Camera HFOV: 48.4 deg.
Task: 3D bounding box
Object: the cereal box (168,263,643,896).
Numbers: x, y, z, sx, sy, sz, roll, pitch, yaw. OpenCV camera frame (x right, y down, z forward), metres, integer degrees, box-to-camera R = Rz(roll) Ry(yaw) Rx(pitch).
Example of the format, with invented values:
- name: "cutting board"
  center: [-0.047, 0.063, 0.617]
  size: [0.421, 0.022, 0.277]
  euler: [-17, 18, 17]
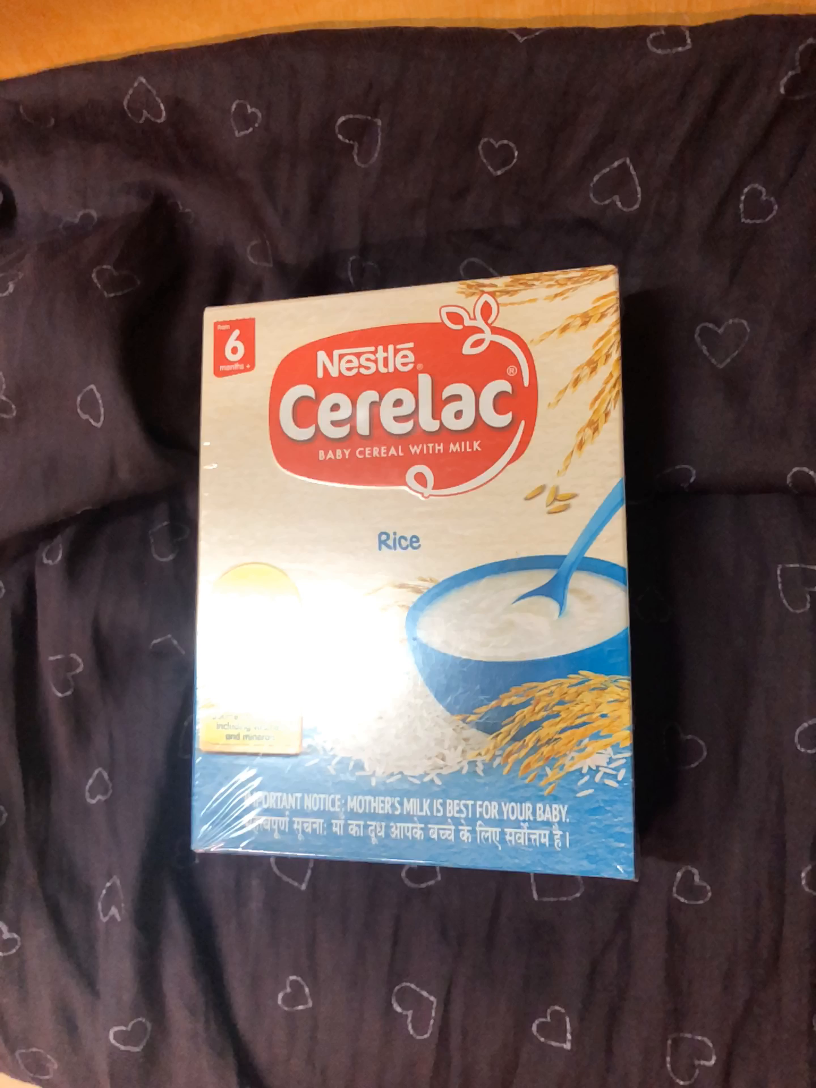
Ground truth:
- name: "cereal box"
  center: [0.002, 0.013, 0.340]
  size: [0.160, 0.070, 0.200]
  euler: [-2, 84, 14]
